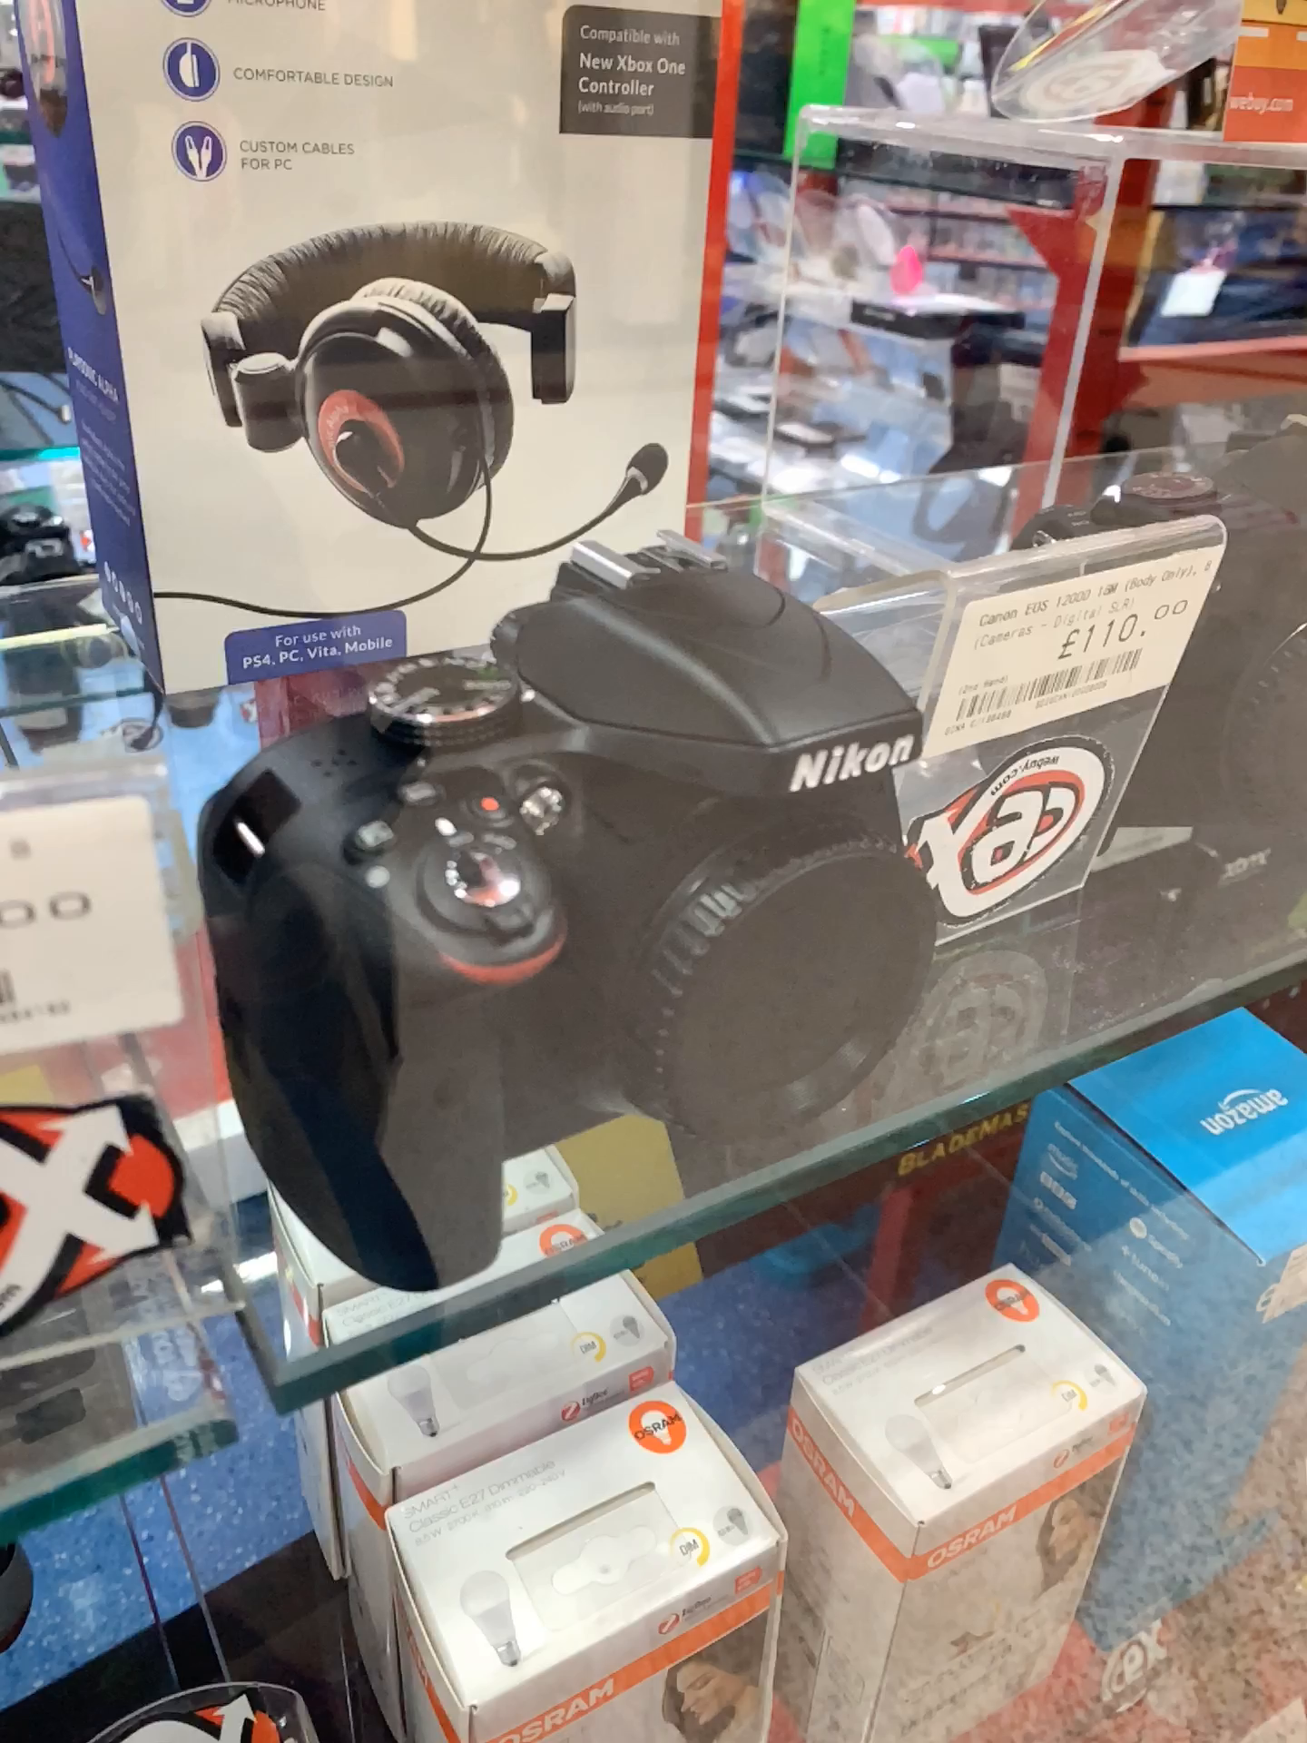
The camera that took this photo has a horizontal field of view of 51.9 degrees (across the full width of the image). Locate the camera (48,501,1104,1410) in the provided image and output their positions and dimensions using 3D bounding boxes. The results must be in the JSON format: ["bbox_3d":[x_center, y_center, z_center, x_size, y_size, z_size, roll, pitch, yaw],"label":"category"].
[{"bbox_3d":[-0.015,-0.003,0.236,0.130,0.079,0.111,-19,38,-33],"label":"camera"}]
